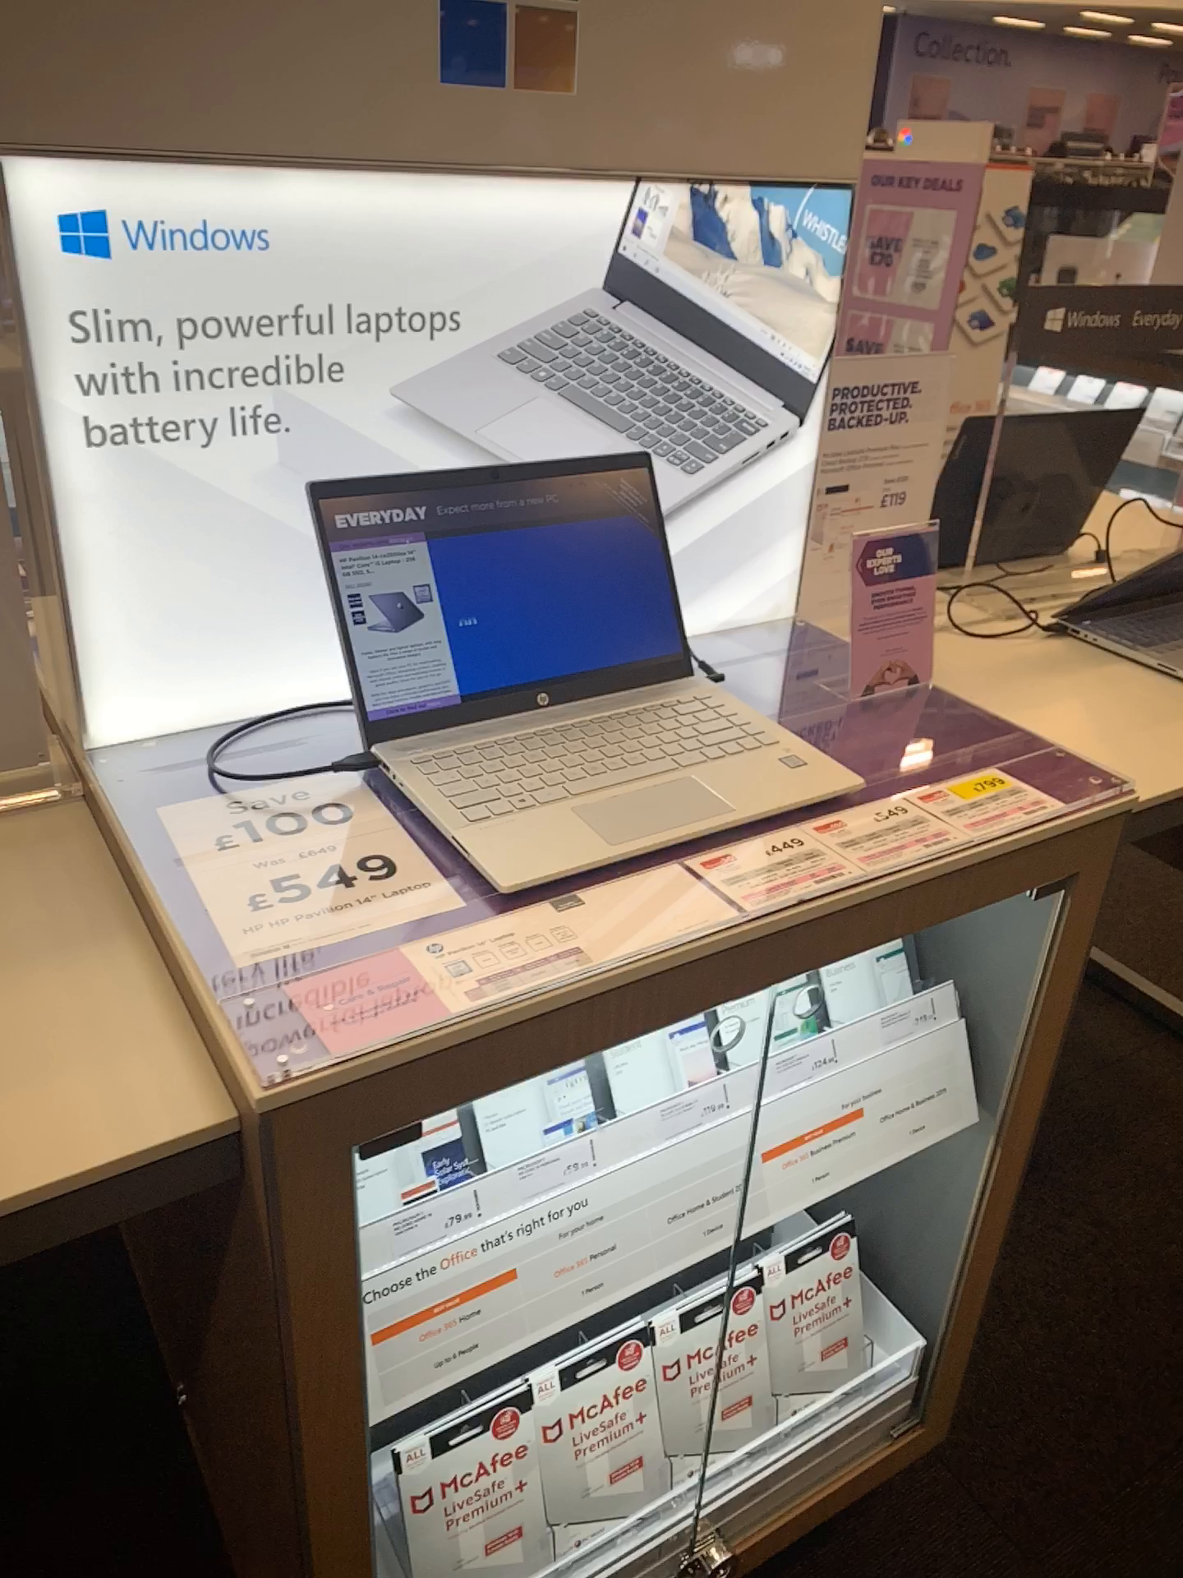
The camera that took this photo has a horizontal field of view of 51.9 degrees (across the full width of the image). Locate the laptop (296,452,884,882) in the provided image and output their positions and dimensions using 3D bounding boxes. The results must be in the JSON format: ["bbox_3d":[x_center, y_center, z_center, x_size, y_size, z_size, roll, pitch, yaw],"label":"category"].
[{"bbox_3d":[-0.015,-0.122,0.941,0.314,0.171,0.324,-14,34,-30],"label":"laptop"}]
